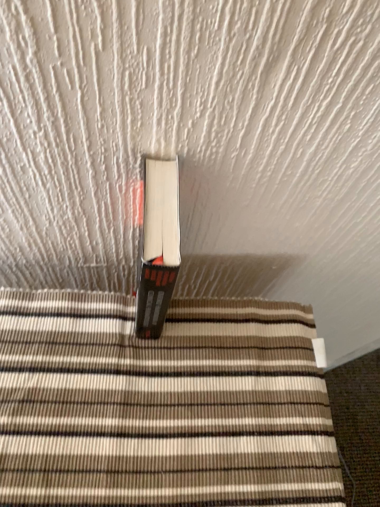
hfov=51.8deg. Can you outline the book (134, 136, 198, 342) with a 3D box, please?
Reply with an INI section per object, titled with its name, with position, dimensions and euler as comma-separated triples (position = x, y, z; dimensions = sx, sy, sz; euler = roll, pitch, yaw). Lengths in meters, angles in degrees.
[book]
position = -0.032, 0.001, 0.377
dimensions = 0.040, 0.189, 0.121
euler = 0, 63, -9
